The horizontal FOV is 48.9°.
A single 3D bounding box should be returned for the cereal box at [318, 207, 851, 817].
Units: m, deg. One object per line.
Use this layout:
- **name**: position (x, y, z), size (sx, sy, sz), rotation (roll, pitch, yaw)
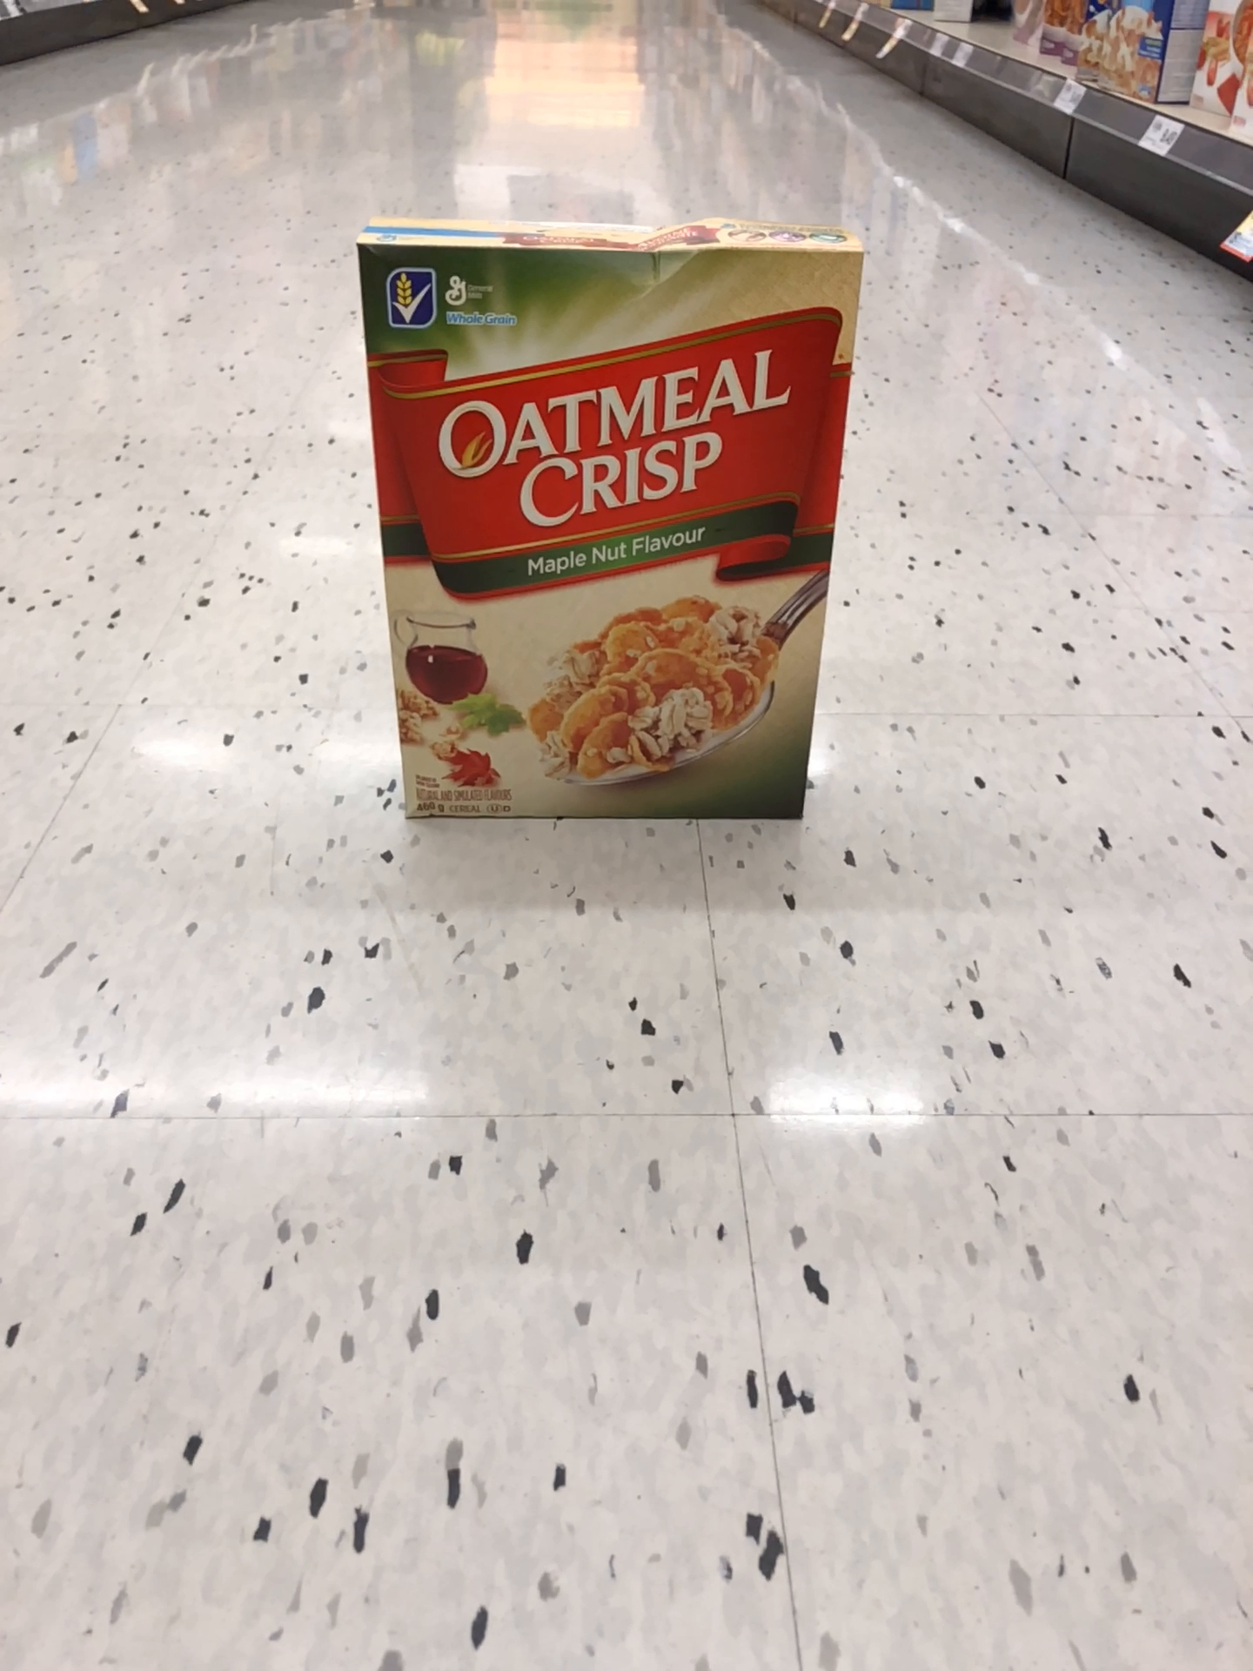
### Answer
- **cereal box**: position (-0.019, -0.131, 0.609), size (0.200, 0.258, 0.050), rotation (0, 33, -3)
